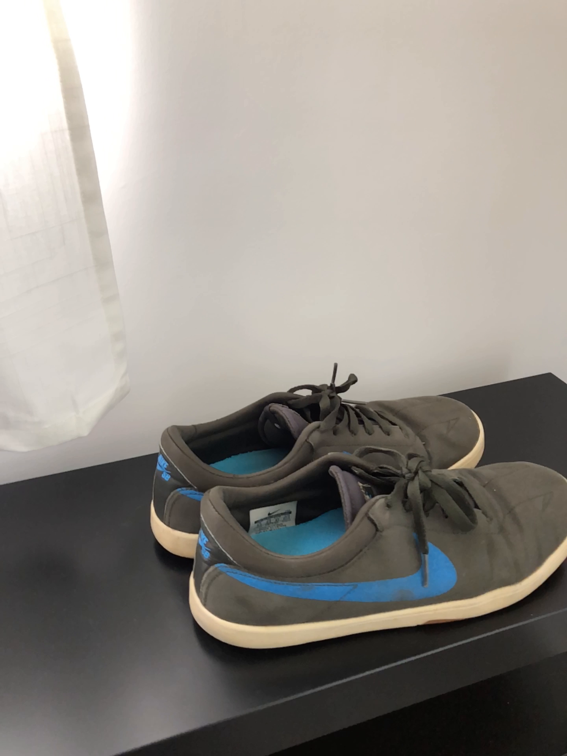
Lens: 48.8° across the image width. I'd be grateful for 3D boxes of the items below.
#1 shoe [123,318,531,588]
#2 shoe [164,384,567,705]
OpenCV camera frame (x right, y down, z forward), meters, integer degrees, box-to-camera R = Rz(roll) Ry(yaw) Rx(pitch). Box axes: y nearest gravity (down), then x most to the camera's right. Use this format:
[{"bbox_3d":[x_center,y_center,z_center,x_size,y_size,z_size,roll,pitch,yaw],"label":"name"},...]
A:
[{"bbox_3d":[0.033,0.046,0.482,0.280,0.110,0.100,-12,32,-18],"label":"shoe"},{"bbox_3d":[0.074,0.098,0.412,0.280,0.110,0.100,-9,31,-14],"label":"shoe"}]
